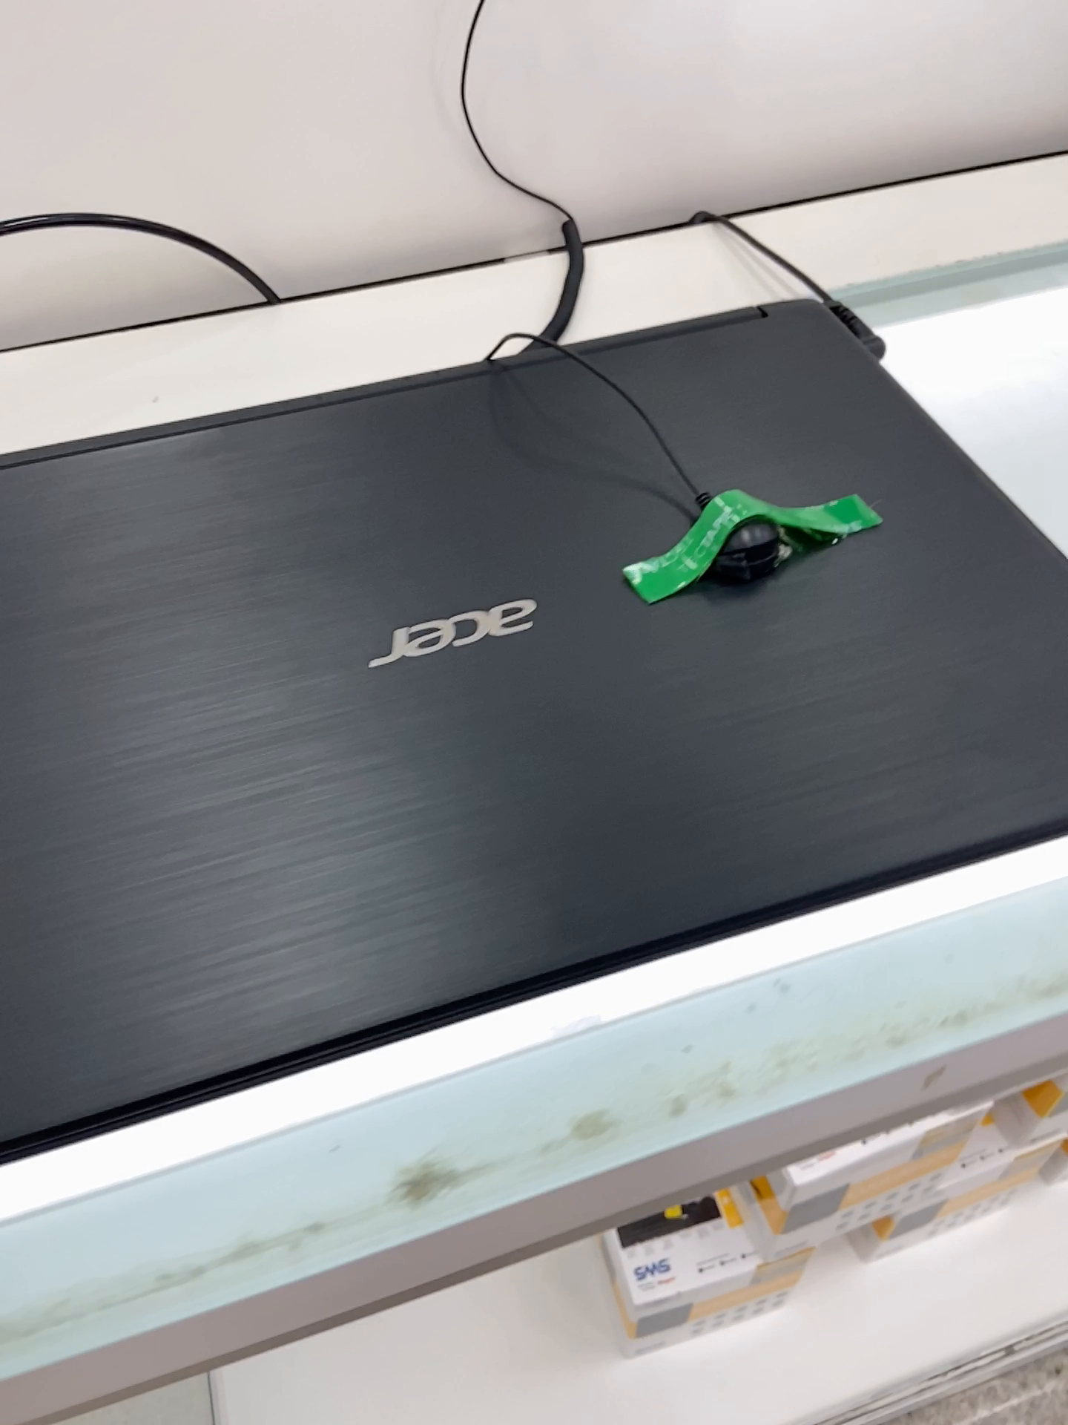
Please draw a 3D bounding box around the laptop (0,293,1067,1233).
[{"bbox_3d":[-0.021,-0.033,0.339,0.387,0.001,0.248,-15,50,-10],"label":"laptop"}]
